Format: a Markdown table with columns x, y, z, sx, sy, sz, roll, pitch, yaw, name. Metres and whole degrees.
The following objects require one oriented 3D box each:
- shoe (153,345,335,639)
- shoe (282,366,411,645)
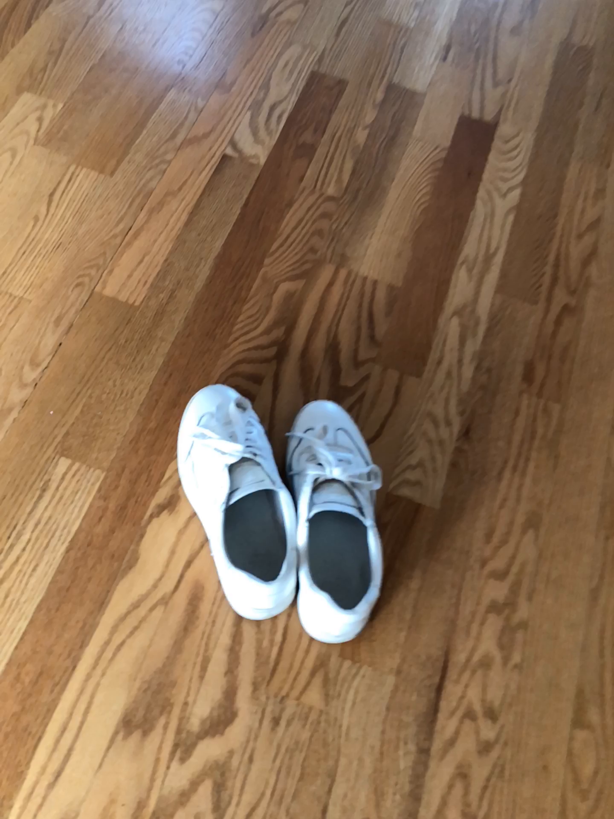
| x | y | z | sx | sy | sz | roll | pitch | yaw | name |
| --- | --- | --- | --- | --- | --- | --- | --- | --- | --- |
| -0.071 | 0.081 | 0.683 | 0.102 | 0.104 | 0.260 | -15 | 67 | -13 | shoe |
| 0.030 | 0.096 | 0.685 | 0.102 | 0.107 | 0.260 | 1 | 64 | -6 | shoe |
